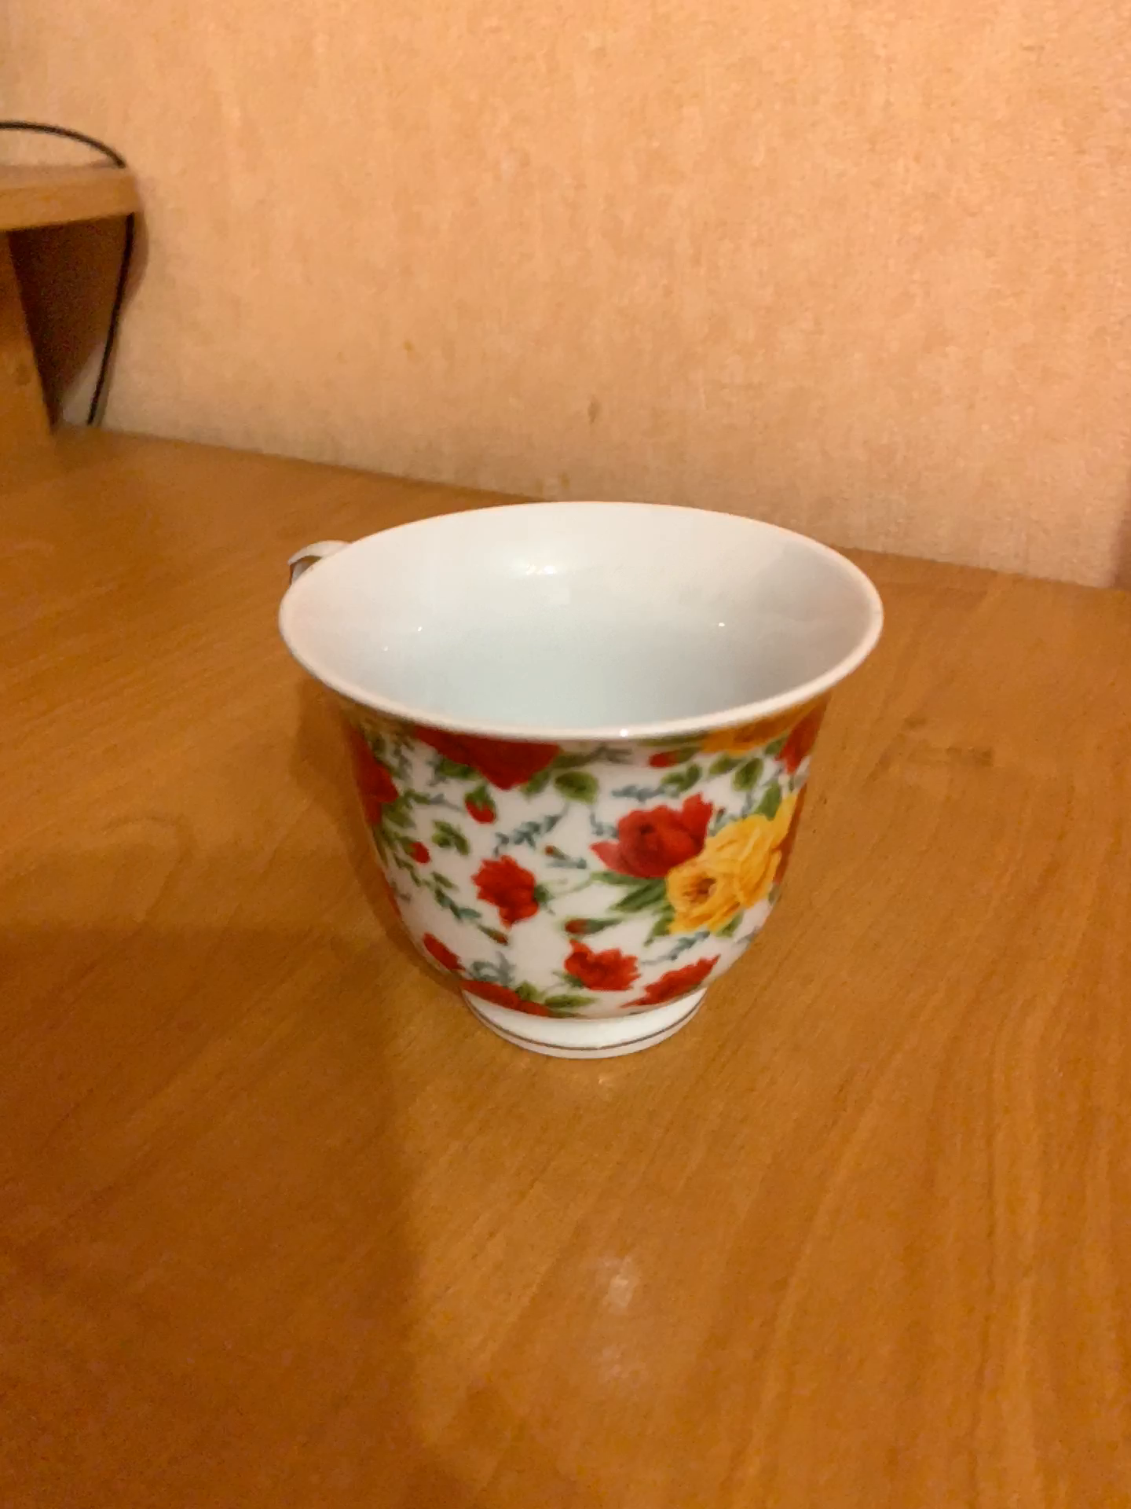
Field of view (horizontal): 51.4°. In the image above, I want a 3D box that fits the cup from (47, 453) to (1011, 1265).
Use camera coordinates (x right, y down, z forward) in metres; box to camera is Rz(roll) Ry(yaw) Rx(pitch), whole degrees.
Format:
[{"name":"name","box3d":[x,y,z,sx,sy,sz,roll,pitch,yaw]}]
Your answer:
[{"name":"cup","box3d":[-0.005,0.001,0.206,0.120,0.067,0.100,21,36,34]}]
